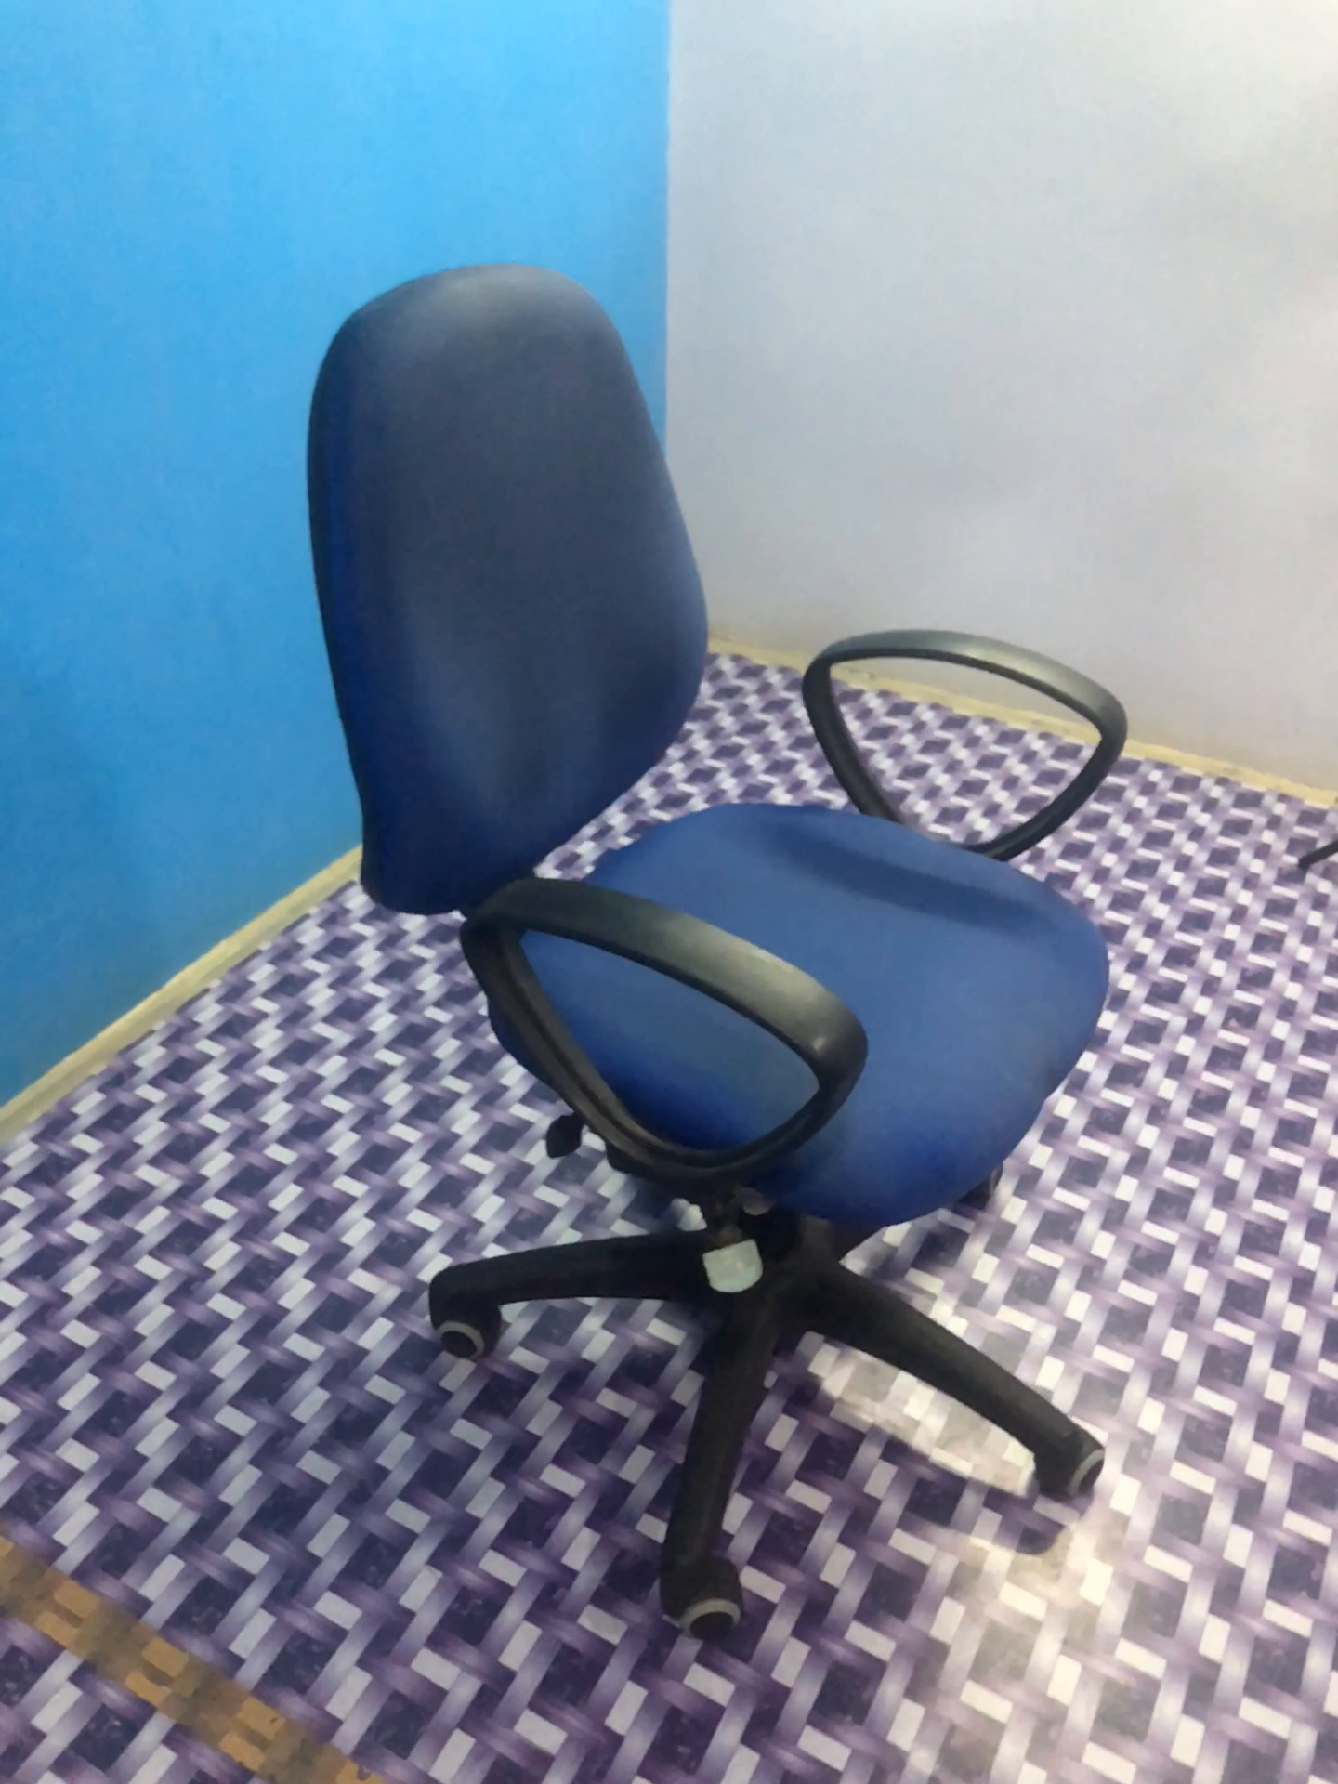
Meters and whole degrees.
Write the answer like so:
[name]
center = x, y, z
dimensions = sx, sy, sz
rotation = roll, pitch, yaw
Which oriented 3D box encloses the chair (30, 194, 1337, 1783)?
[chair]
center = 0.107, 0.018, 1.179
dimensions = 0.690, 0.915, 0.704
rotation = 21, 38, 27
